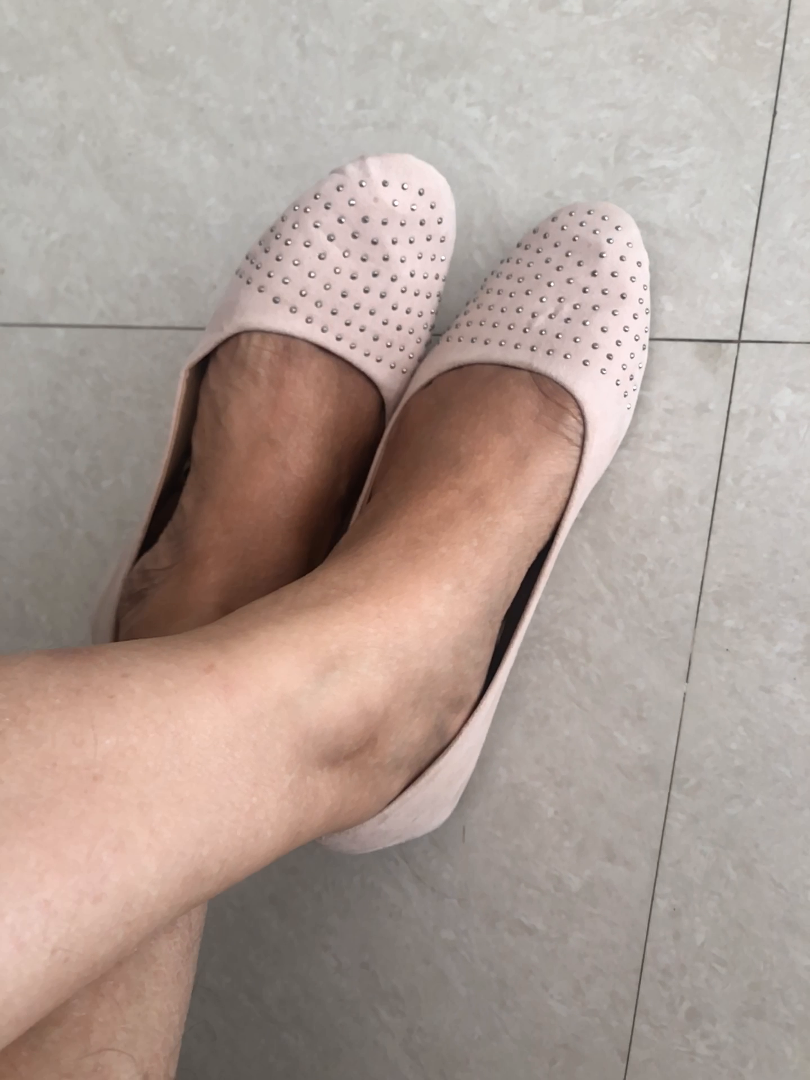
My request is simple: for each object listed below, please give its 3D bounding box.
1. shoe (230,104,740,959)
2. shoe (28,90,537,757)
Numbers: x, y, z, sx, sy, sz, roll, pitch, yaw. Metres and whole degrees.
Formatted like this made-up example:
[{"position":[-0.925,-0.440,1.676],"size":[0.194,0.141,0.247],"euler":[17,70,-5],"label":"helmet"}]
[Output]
[{"position":[0.033,-0.009,0.334],"size":[0.100,0.080,0.270],"euler":[14,89,29],"label":"shoe"},{"position":[-0.055,-0.039,0.363],"size":[0.240,0.090,0.060],"euler":[-60,25,11],"label":"shoe"}]
